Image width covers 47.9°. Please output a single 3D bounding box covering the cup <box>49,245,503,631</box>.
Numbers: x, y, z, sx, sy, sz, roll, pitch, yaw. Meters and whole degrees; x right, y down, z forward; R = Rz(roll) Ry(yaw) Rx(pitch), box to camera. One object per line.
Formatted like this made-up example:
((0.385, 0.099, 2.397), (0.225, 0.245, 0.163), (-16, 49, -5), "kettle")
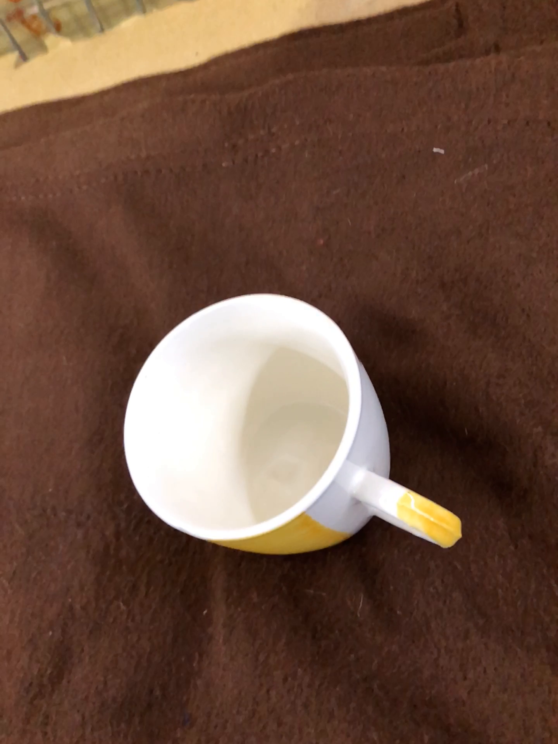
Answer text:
((0.003, 0.017, 0.169), (0.090, 0.060, 0.060), (21, 77, 28), "cup")
